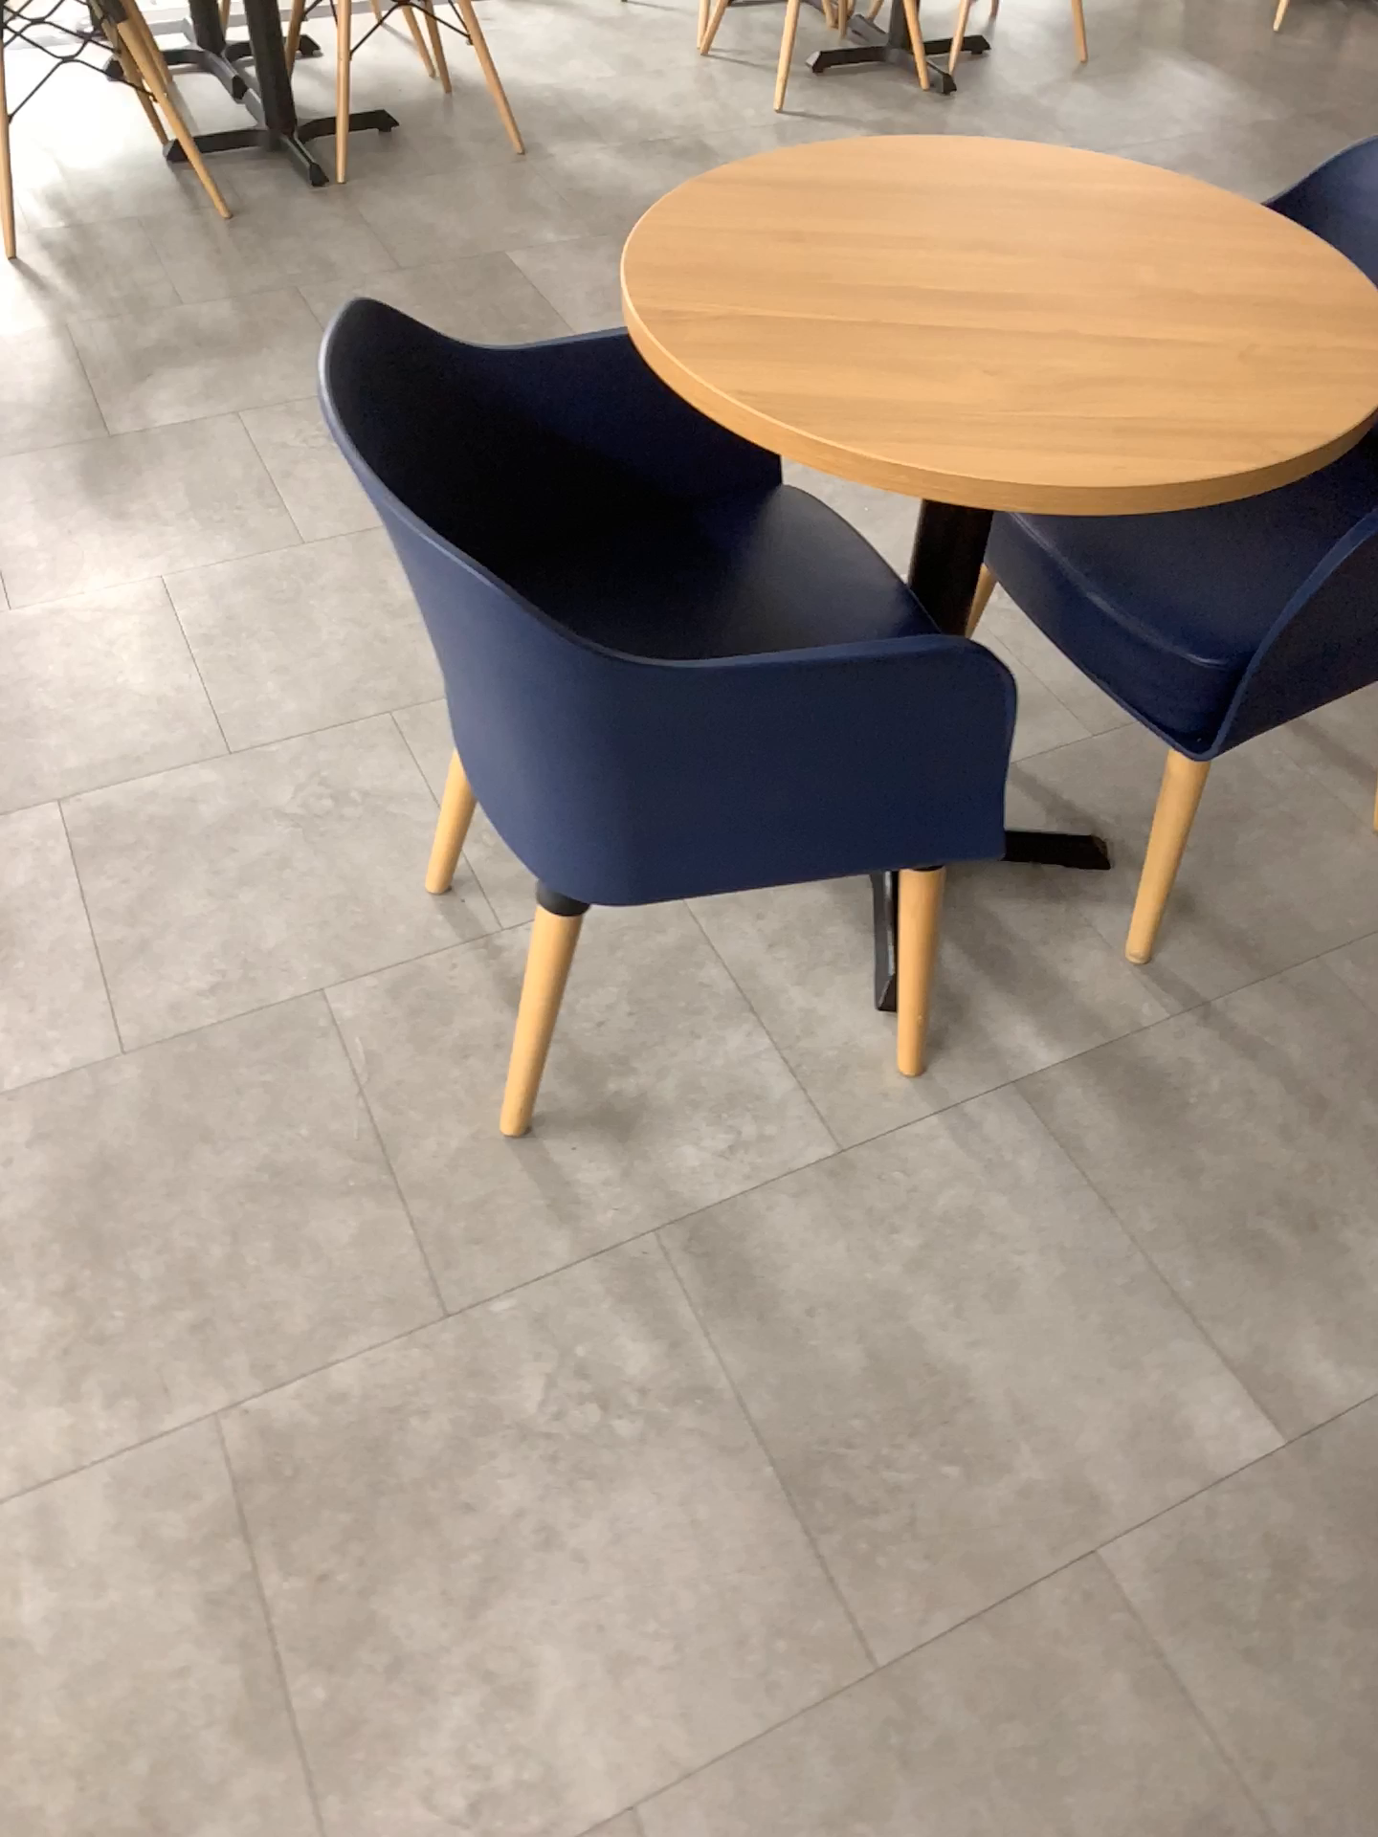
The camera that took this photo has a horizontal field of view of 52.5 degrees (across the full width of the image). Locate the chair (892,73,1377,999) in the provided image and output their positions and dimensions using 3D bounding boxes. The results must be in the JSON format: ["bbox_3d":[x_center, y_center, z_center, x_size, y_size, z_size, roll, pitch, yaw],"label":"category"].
[{"bbox_3d":[0.666,-0.430,1.584,0.557,0.735,0.566,-18,51,-18],"label":"chair"}]

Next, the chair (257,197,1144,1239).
[{"bbox_3d":[-0.040,-0.186,1.364,0.547,0.735,0.567,-12,49,-13],"label":"chair"}]
